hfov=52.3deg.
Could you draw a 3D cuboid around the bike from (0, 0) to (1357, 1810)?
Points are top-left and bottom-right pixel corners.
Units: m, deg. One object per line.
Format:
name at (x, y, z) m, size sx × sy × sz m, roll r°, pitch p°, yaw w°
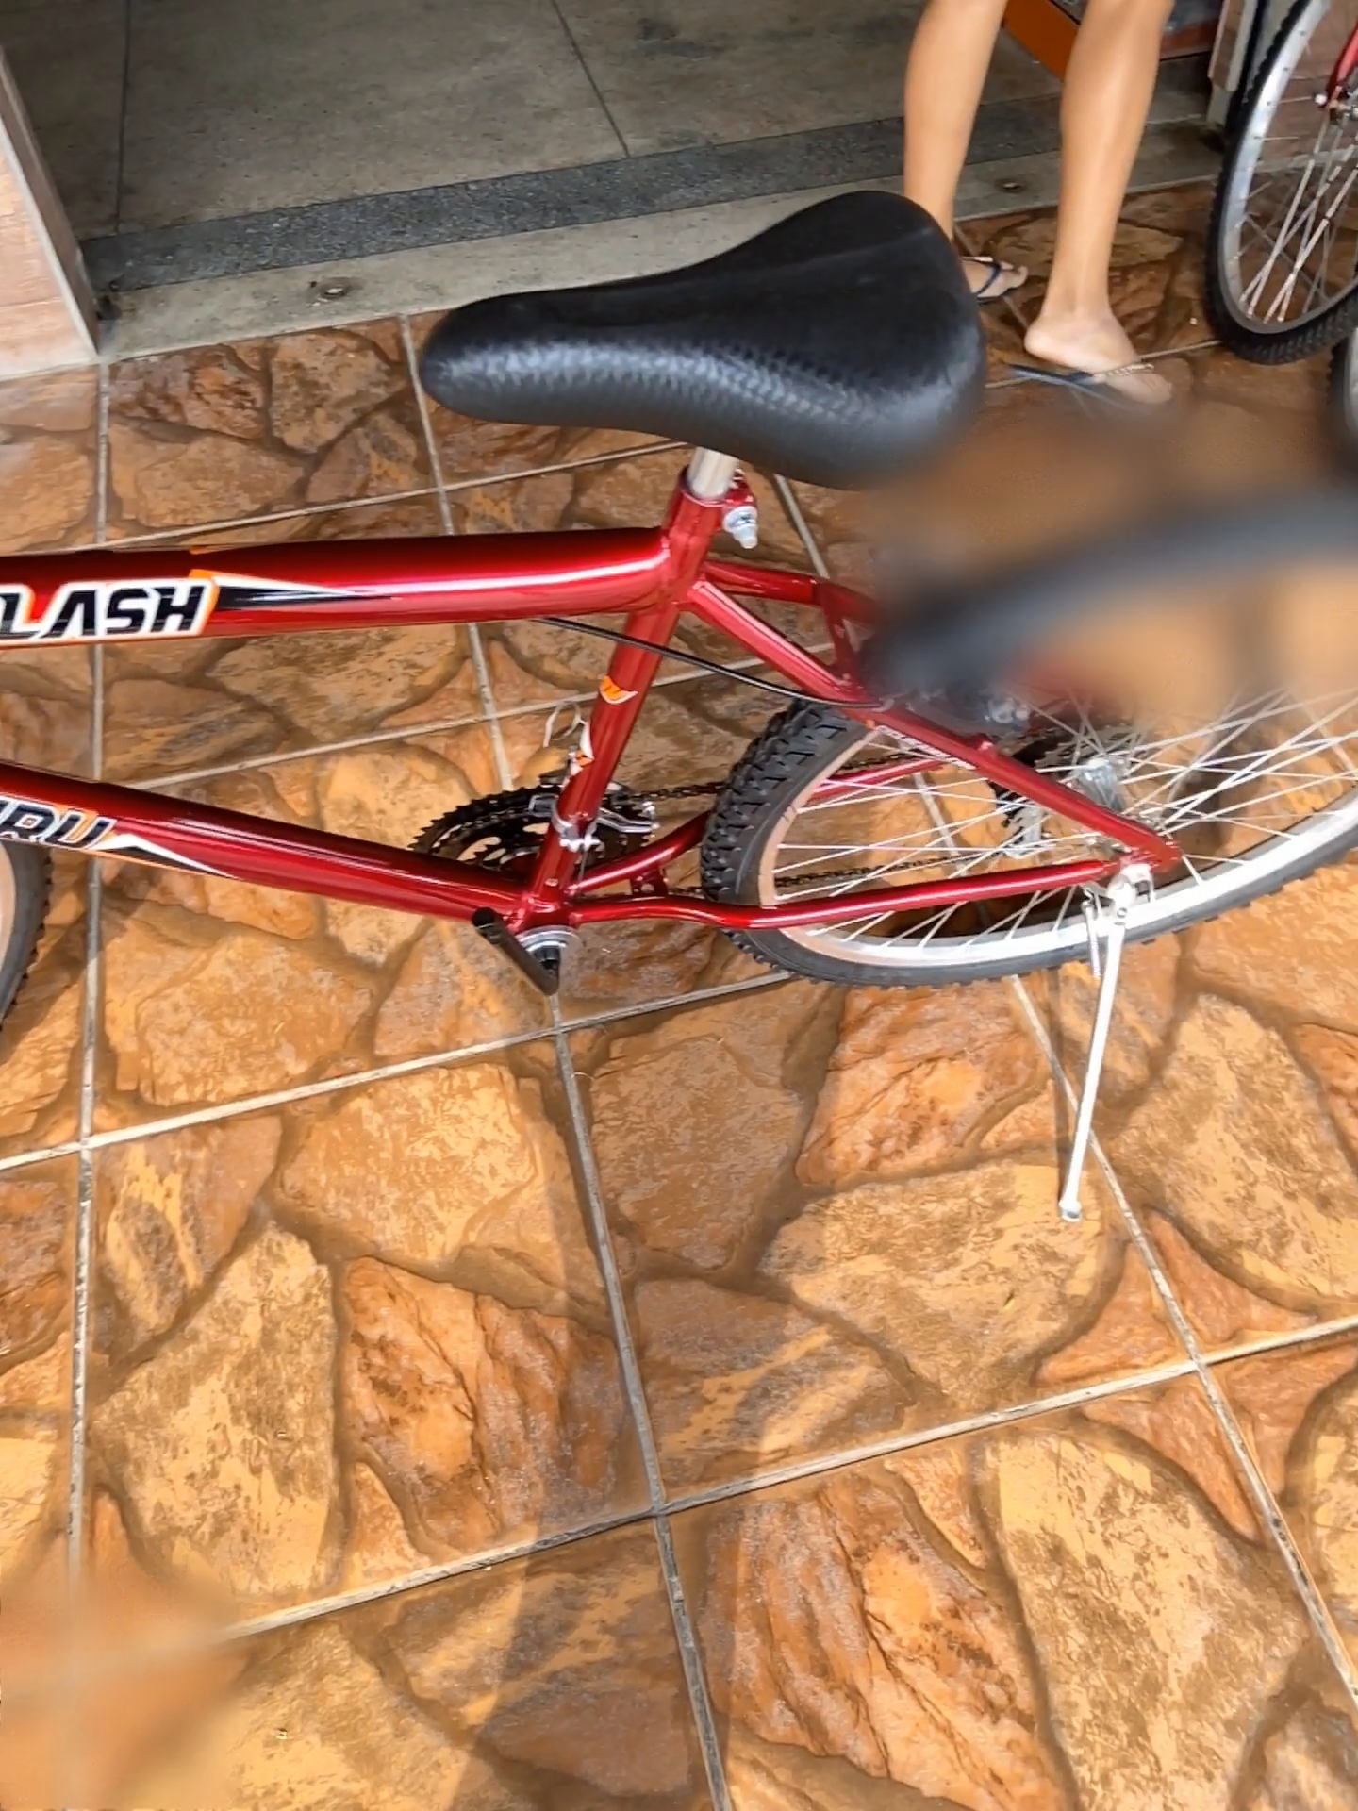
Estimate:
bike at (-0.125, 0.072, 0.783) m, size 1.557 × 0.986 × 0.601 m, roll -19°, pitch 52°, yaw -8°
